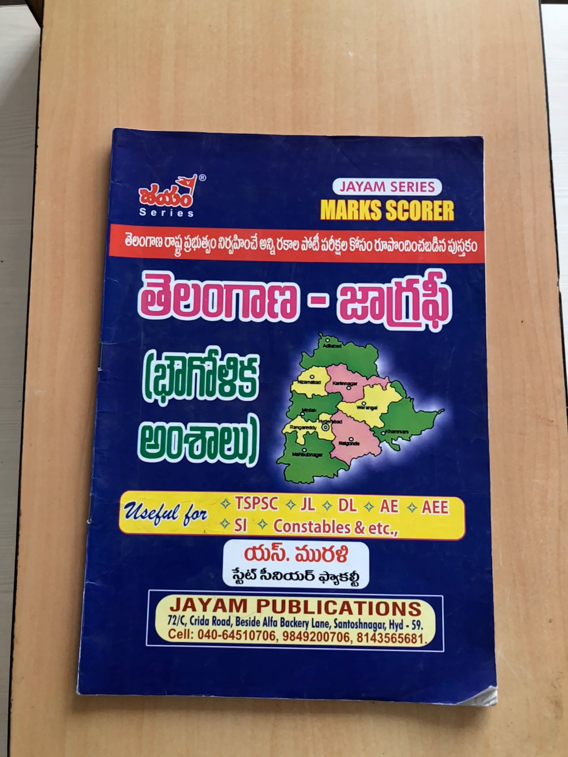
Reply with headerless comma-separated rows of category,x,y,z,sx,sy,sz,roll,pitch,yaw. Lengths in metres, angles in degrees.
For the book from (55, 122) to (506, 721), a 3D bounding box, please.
book,0.002,0.013,0.320,0.200,0.040,0.280,2,81,0
